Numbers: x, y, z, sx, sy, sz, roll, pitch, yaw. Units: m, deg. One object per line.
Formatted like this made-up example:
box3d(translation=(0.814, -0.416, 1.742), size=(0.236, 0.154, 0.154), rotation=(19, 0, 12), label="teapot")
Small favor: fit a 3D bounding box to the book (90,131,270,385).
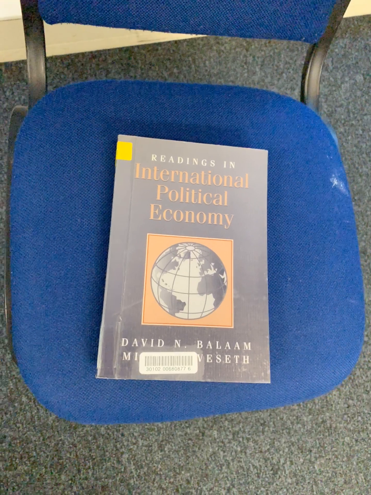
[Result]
box3d(translation=(-0.001, 0.008, 0.353), size=(0.150, 0.030, 0.220), rotation=(4, 76, -10), label="book")
